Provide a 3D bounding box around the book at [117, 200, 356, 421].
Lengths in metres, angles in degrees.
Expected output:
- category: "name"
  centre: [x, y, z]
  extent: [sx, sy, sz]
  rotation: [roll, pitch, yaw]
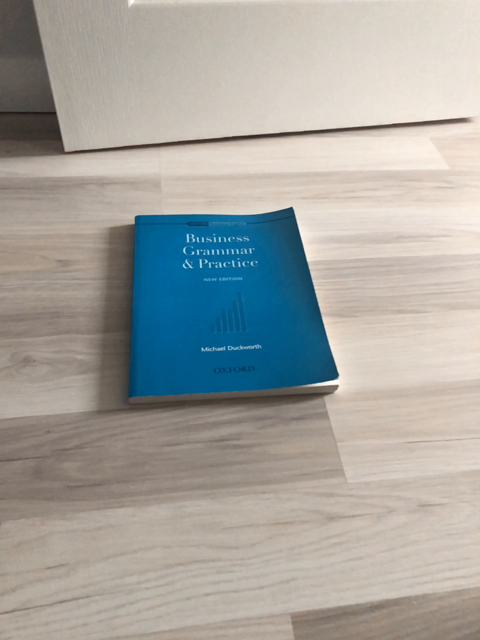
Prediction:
- category: "book"
  centre: [-0.017, -0.031, 0.618]
  extent: [0.230, 0.040, 0.302]
  rotation: [-2, 49, -7]
